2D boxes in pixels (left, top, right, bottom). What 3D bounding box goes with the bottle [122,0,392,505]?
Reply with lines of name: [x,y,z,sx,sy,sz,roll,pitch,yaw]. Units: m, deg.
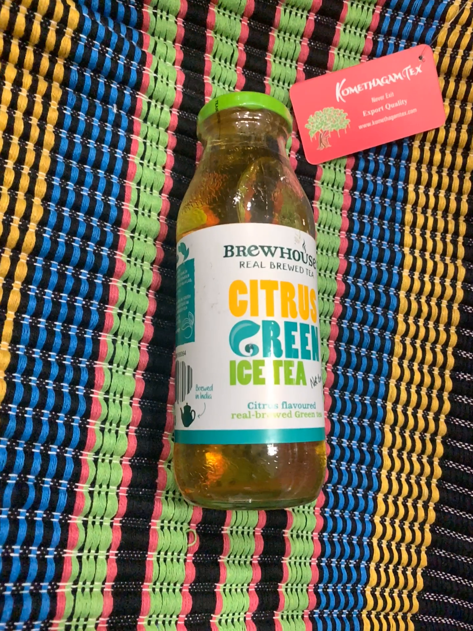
bottle: [0.004,-0.024,0.216,0.080,0.070,0.190,8,72,-31]
